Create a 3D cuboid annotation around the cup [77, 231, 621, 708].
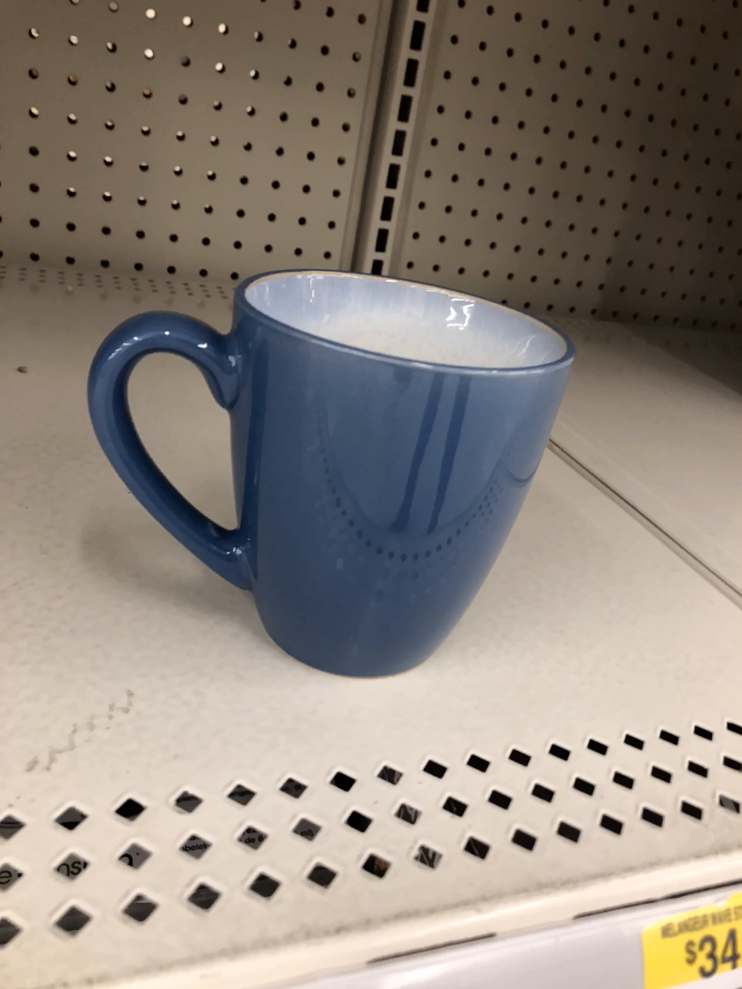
[{"bbox_3d":[-0.019,-0.012,0.247,0.127,0.098,0.097,1,27,-20],"label":"cup"}]
